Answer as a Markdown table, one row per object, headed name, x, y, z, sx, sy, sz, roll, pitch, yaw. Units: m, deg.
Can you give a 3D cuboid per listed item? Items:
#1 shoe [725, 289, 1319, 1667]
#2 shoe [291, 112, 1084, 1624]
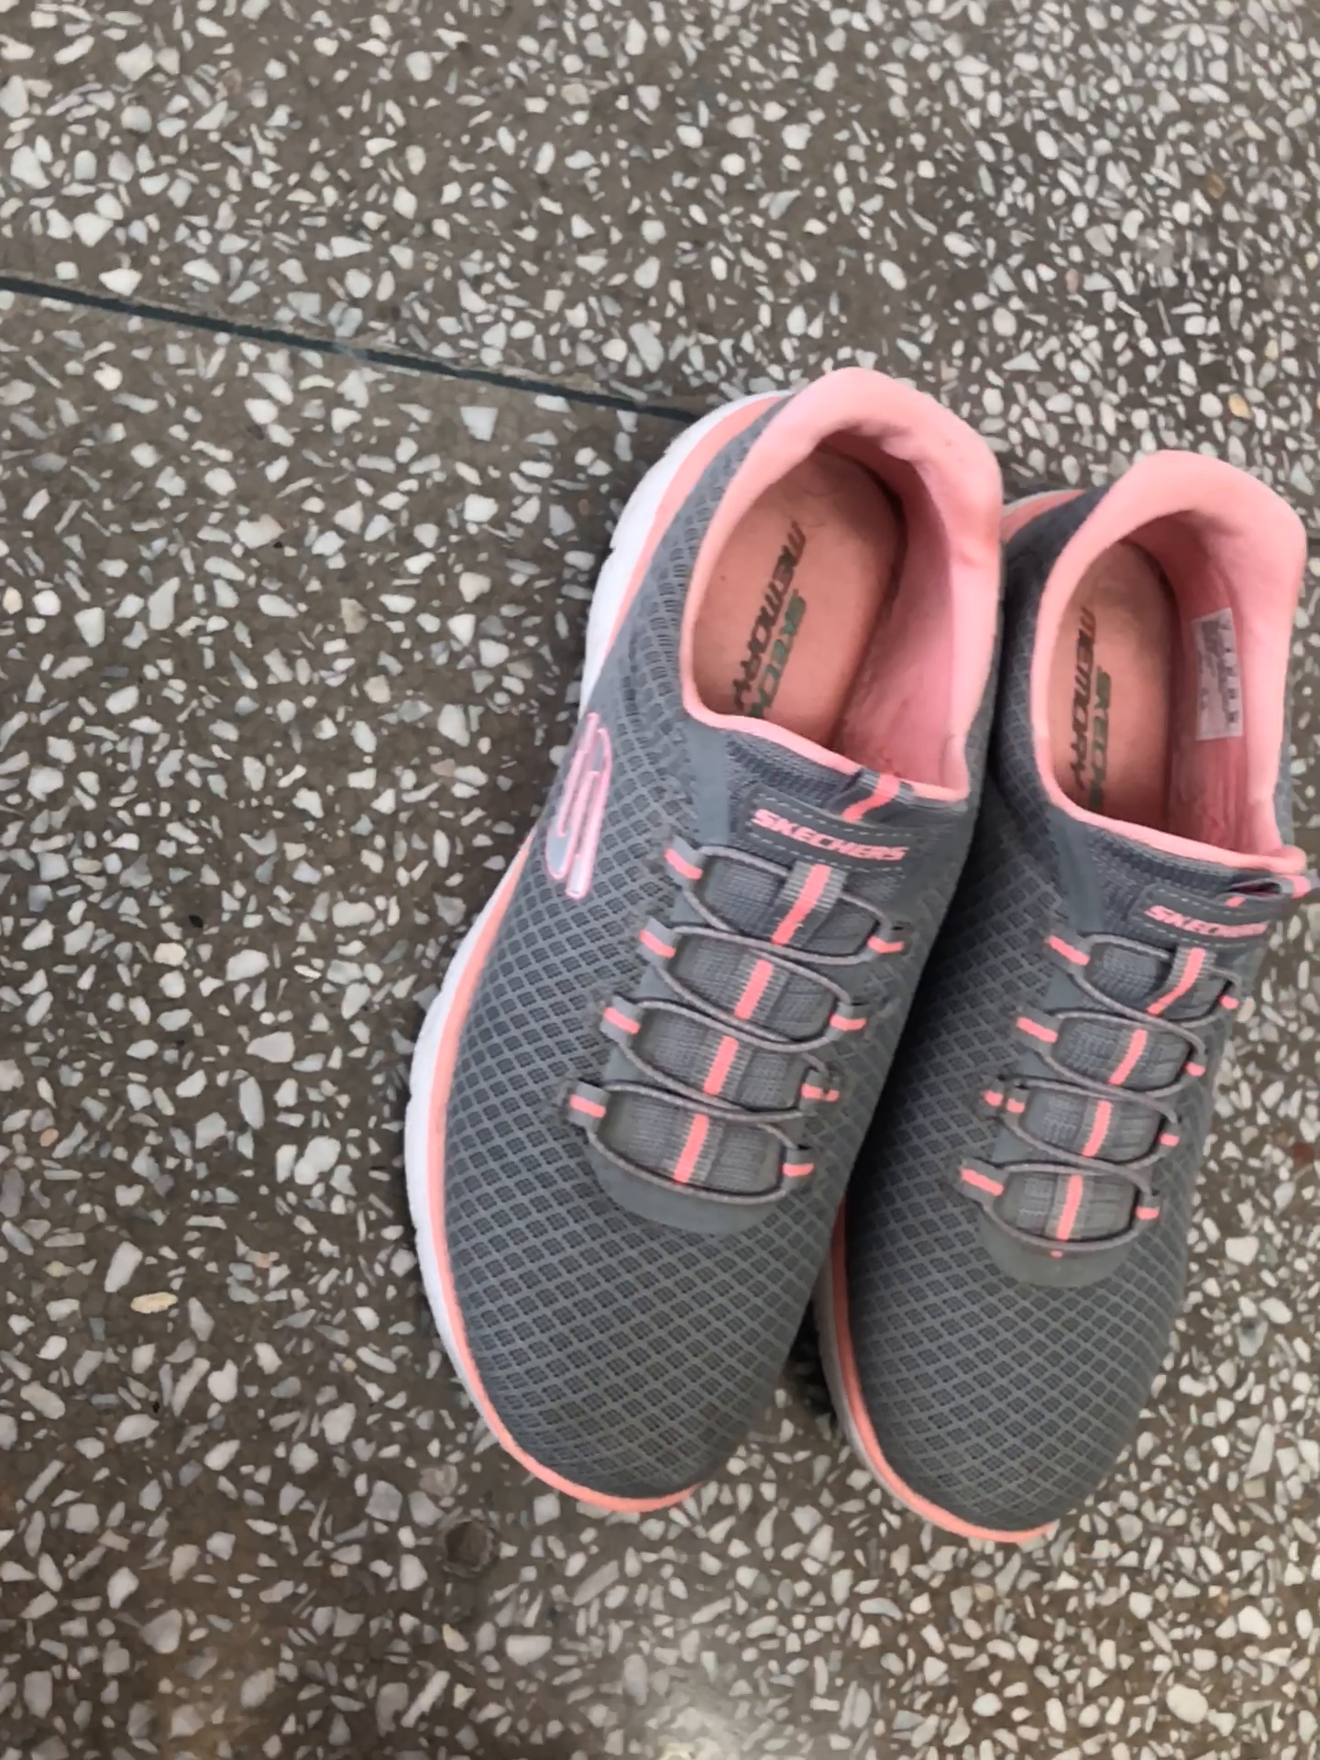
| name | x | y | z | sx | sy | sz | roll | pitch | yaw |
| --- | --- | --- | --- | --- | --- | --- | --- | --- | --- |
| shoe | 0.100 | 0.021 | 0.331 | 0.102 | 0.108 | 0.246 | 14 | 75 | -14 |
| shoe | 0.005 | -0.003 | 0.301 | 0.097 | 0.095 | 0.252 | 14 | 75 | -14 |
